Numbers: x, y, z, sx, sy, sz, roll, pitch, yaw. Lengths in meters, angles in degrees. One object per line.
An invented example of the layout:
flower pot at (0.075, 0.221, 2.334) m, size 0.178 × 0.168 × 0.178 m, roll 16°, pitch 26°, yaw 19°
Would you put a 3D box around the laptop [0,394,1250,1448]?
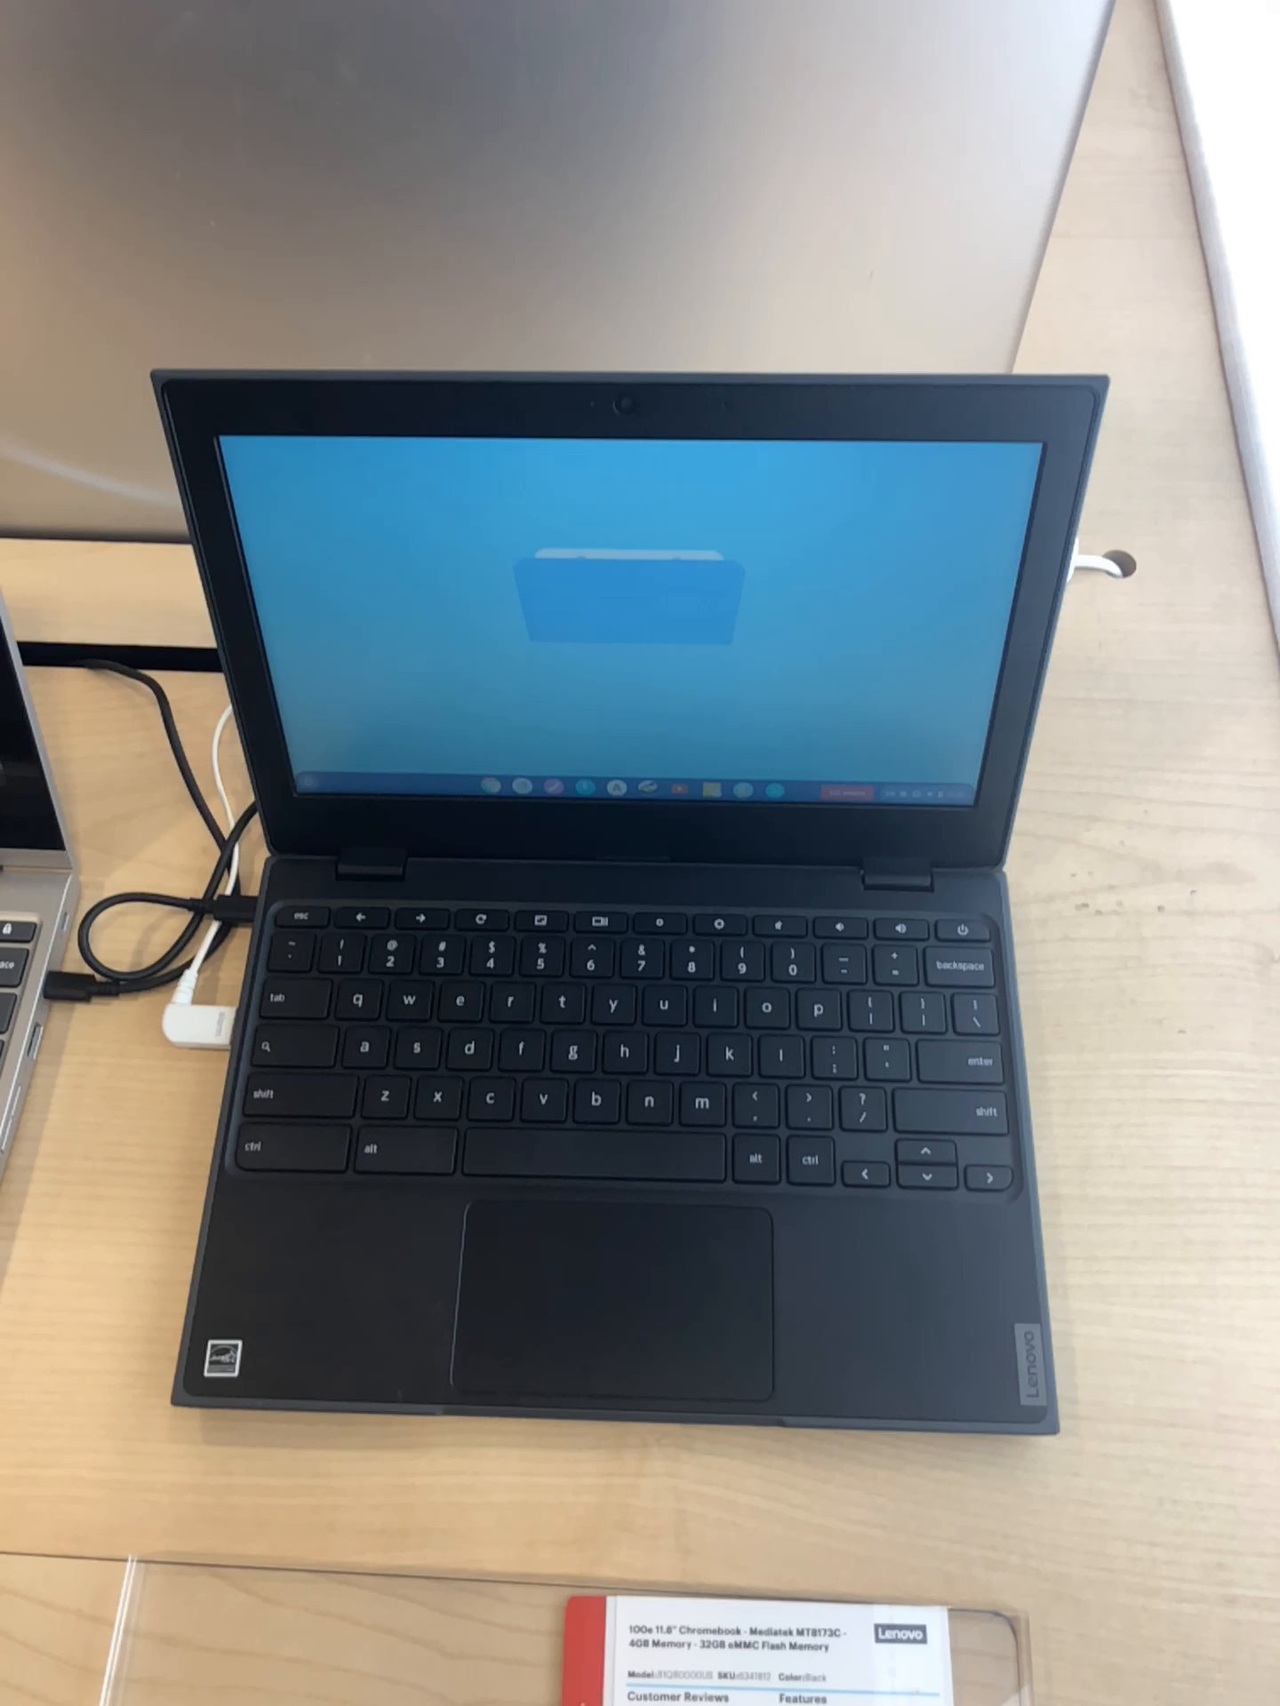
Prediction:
laptop at (-0.005, 0.028, 0.436) m, size 0.281 × 0.179 × 0.271 m, roll 1°, pitch 61°, yaw 3°
